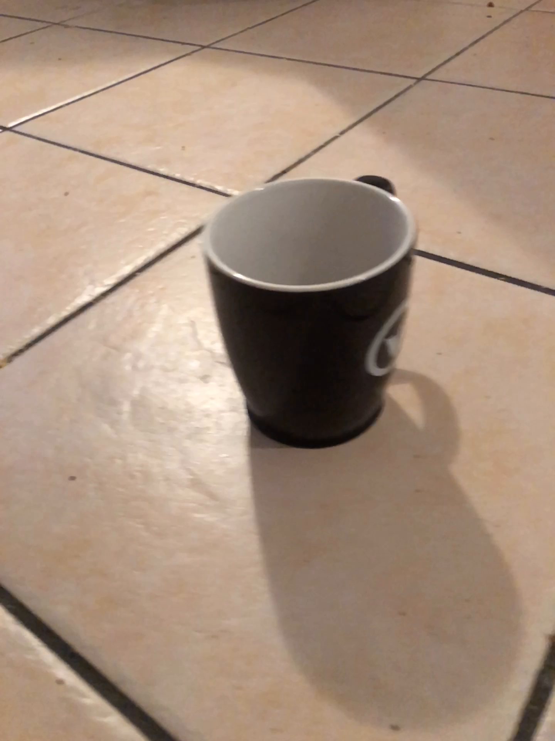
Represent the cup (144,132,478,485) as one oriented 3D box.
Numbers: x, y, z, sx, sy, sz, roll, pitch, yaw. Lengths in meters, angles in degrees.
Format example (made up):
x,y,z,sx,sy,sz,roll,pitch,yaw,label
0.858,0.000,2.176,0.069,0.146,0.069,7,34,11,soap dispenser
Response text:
x,y,z,sx,sy,sz,roll,pitch,yaw,label
0.025,-0.041,0.320,0.100,0.100,0.141,20,48,25,cup
